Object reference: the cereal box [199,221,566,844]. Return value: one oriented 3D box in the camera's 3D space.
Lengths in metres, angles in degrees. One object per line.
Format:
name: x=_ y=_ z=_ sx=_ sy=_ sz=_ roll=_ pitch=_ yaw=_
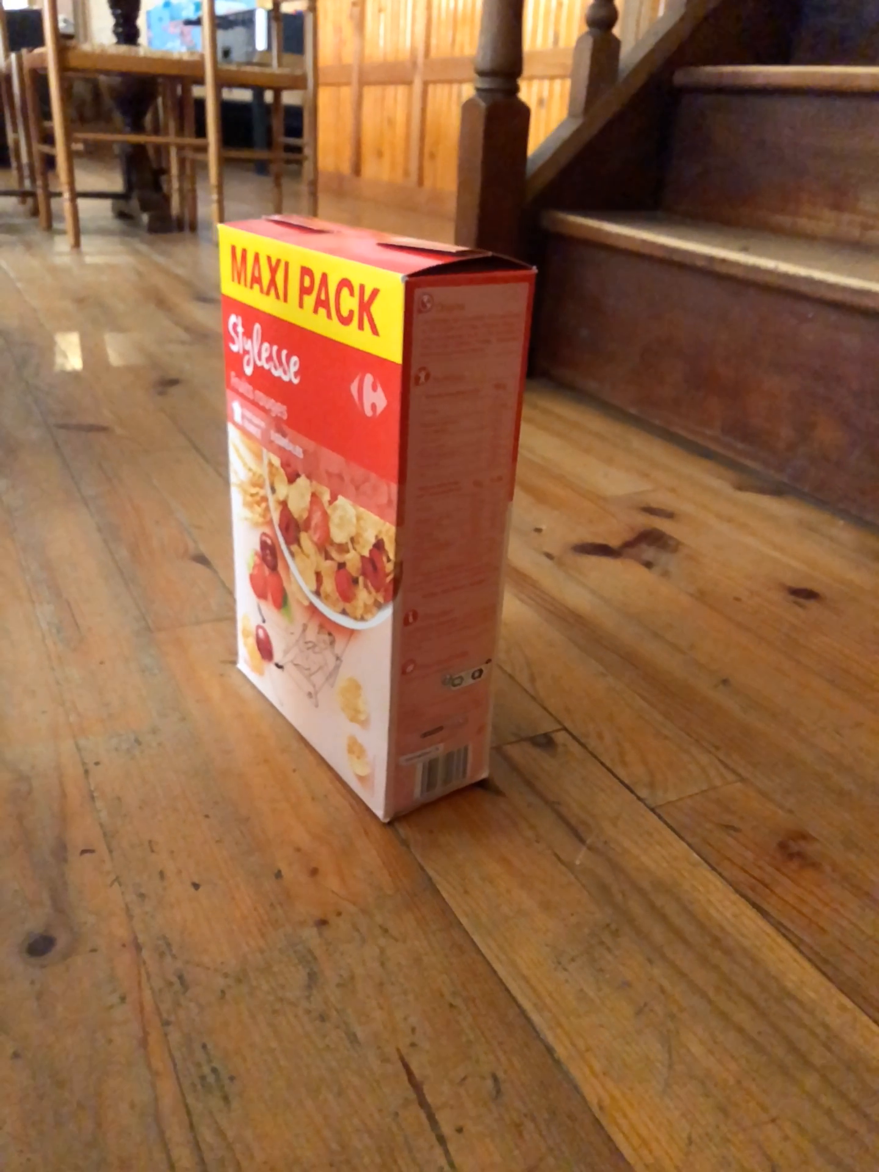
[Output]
cereal box: x=-0.048 y=-0.043 z=0.555 sx=0.090 sy=0.288 sz=0.210 roll=-13 pitch=30 yaw=-33
